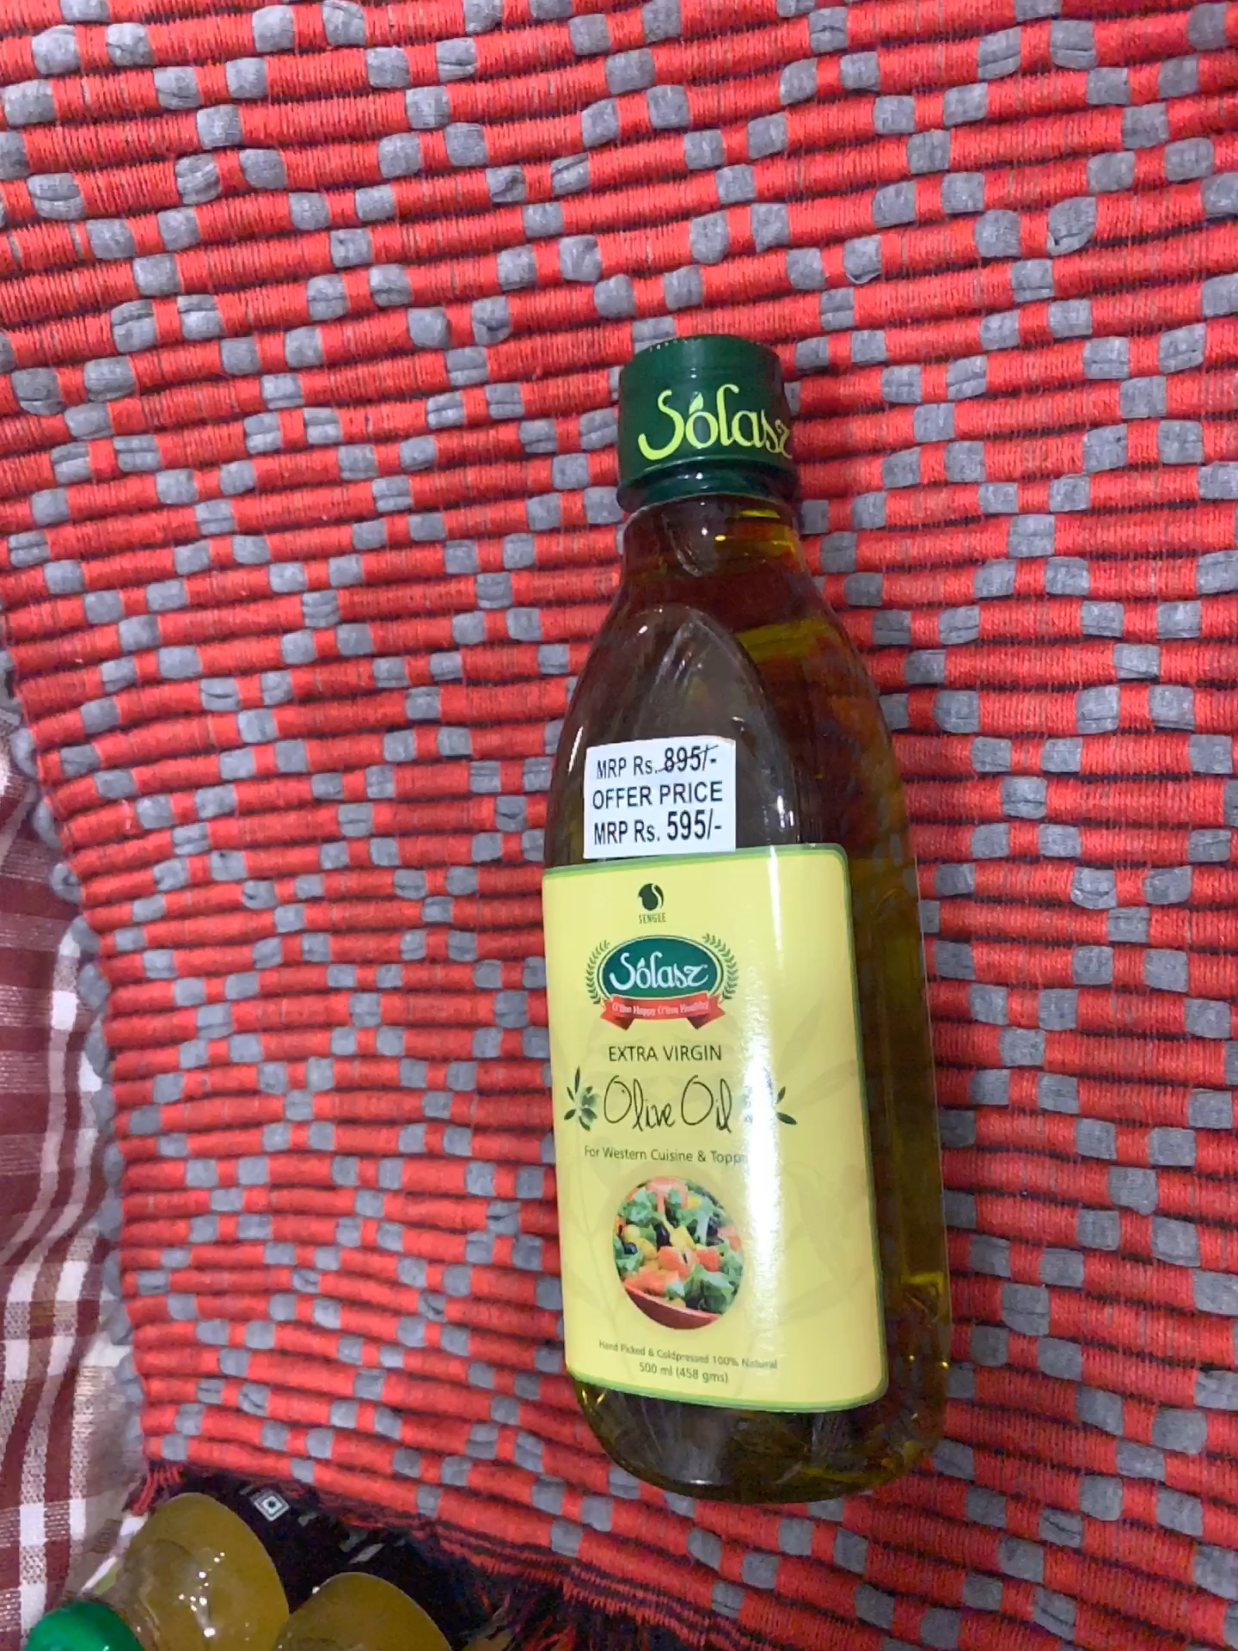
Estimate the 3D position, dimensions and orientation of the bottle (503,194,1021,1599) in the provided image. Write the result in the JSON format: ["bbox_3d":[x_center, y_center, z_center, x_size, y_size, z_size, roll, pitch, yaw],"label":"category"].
[{"bbox_3d":[0.026,0.009,0.228,0.060,0.070,0.200,-6,81,30],"label":"bottle"}]
